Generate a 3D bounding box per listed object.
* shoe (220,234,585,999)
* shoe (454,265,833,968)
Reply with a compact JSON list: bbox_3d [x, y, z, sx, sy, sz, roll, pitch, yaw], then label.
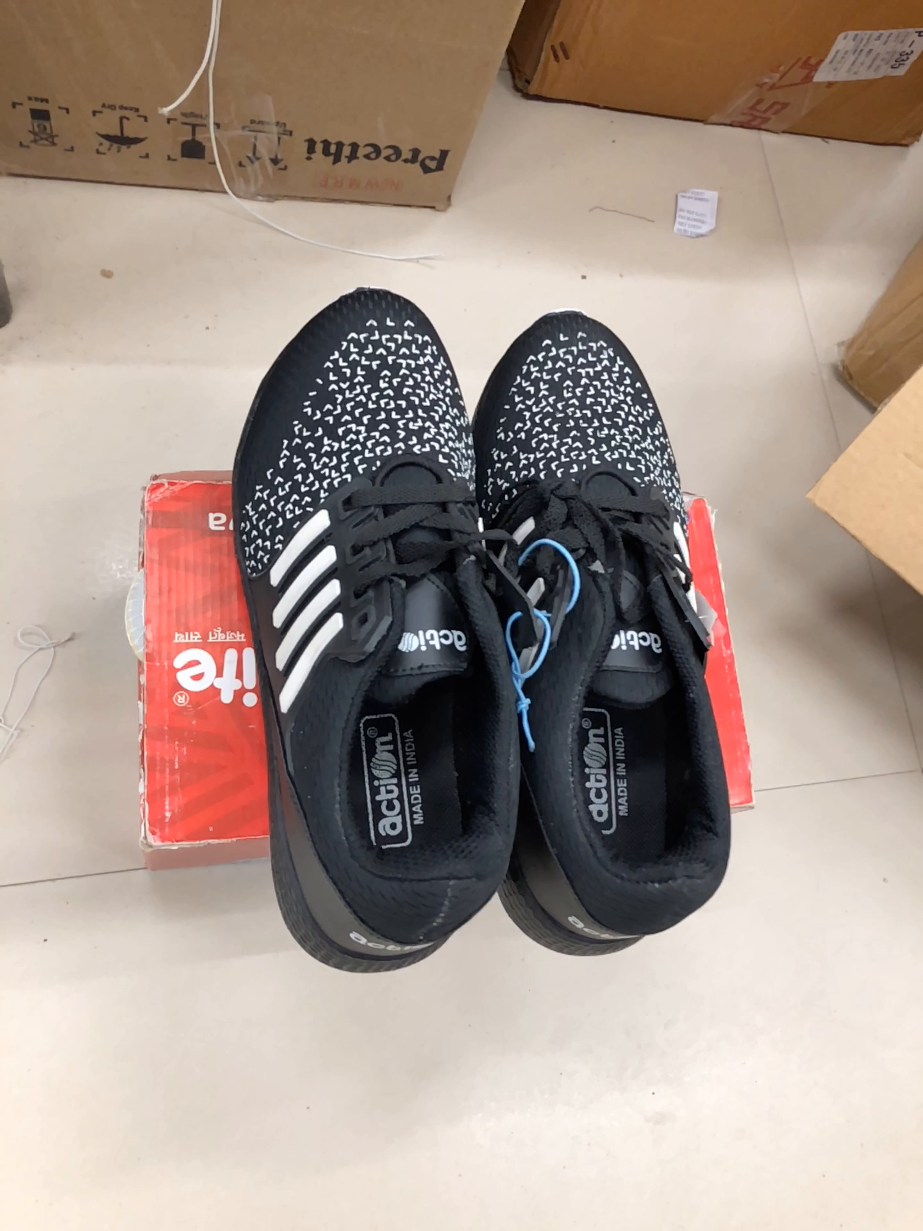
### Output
[{"bbox_3d":[-0.034,0.002,0.402,0.111,0.102,0.267,1,72,-15],"label":"shoe"},{"bbox_3d":[0.063,0.004,0.430,0.101,0.102,0.267,3,72,-15],"label":"shoe"}]
